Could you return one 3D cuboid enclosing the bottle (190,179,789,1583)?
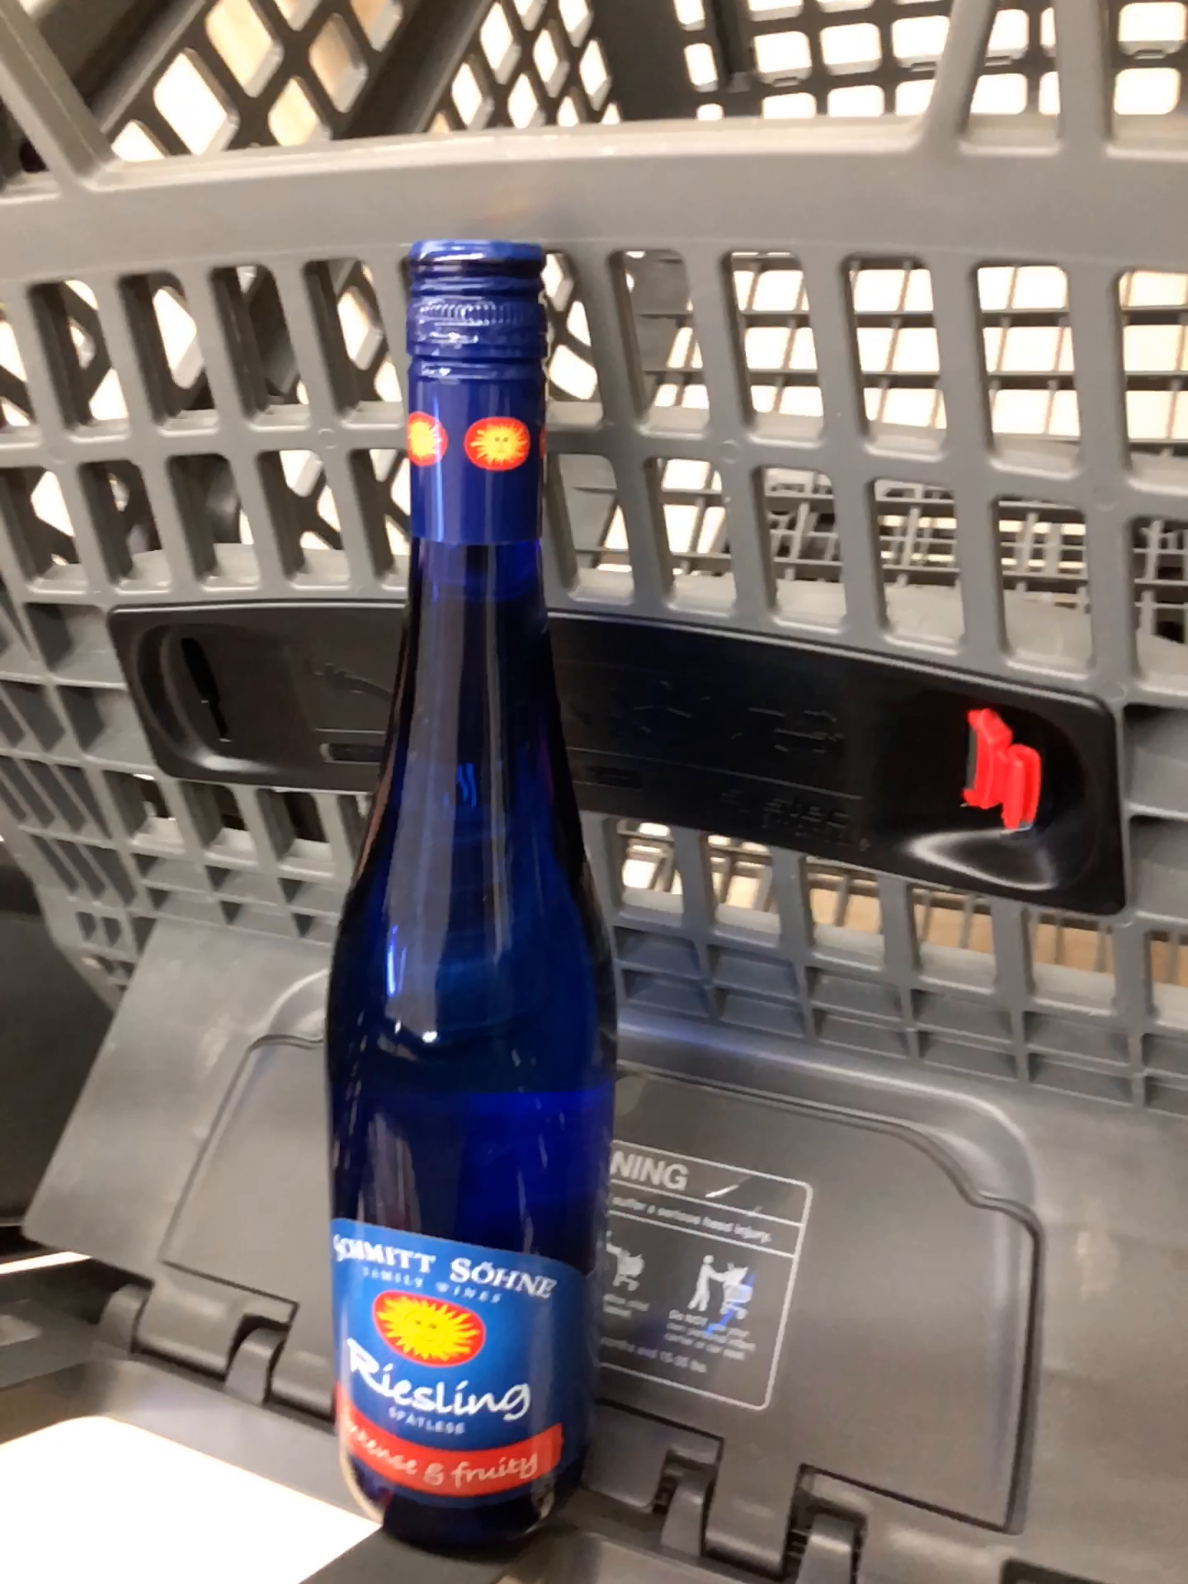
[{"bbox_3d":[-0.022,0.037,0.345,0.100,0.100,0.350,8,110,17],"label":"bottle"}]
